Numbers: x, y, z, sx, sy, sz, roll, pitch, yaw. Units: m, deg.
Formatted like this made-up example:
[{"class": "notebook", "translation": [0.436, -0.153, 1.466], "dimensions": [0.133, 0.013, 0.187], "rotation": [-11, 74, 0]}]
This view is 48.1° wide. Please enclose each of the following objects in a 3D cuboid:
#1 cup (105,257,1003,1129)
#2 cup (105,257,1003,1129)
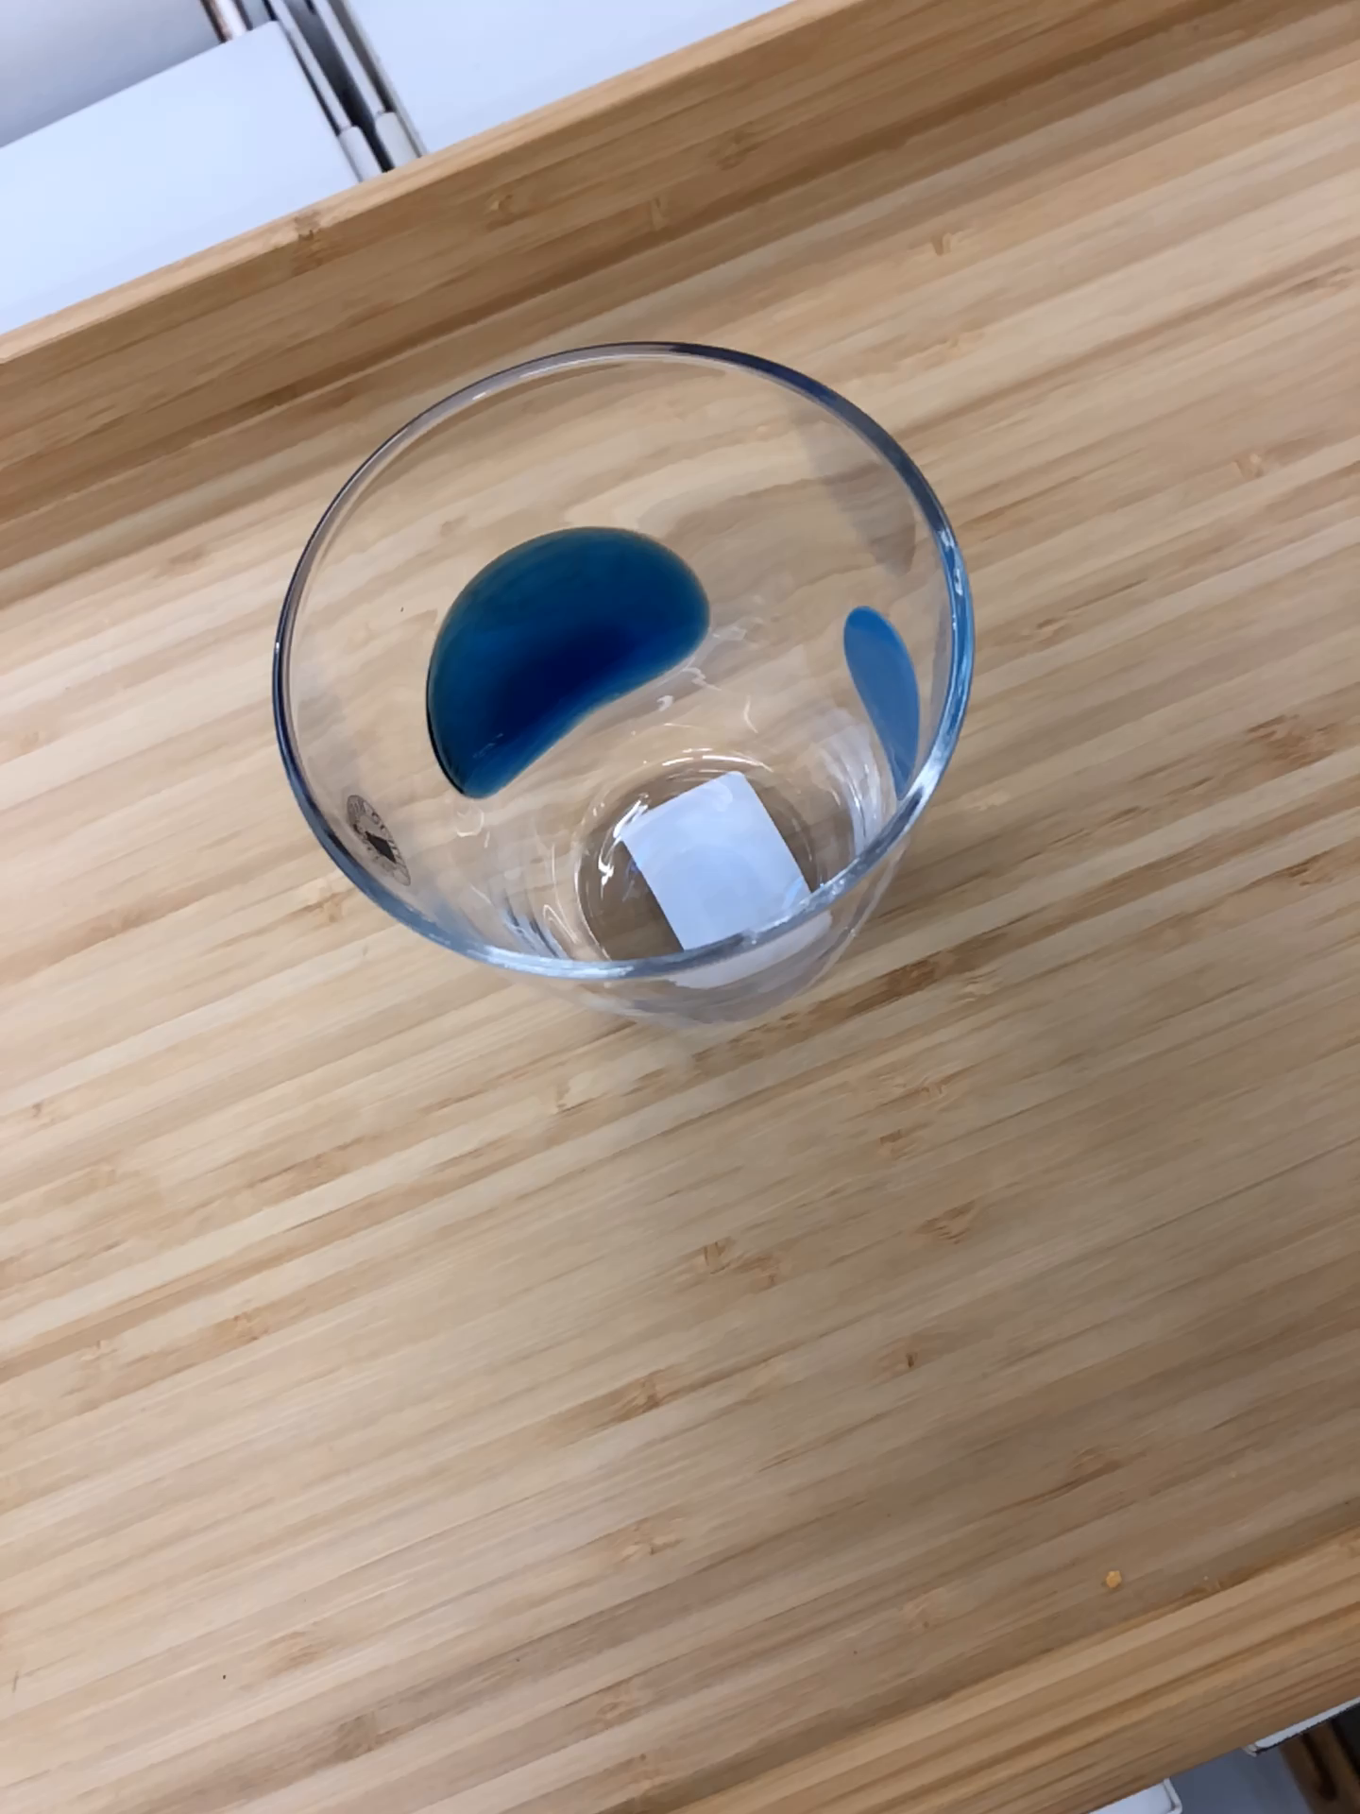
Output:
[{"class": "cup", "translation": [-0.010, -0.029, 0.226], "dimensions": [0.100, 0.070, 0.100], "rotation": [-2, 70, 7]}, {"class": "cup", "translation": [-0.010, -0.029, 0.226], "dimensions": [0.100, 0.070, 0.100], "rotation": [-2, 70, 7]}]
